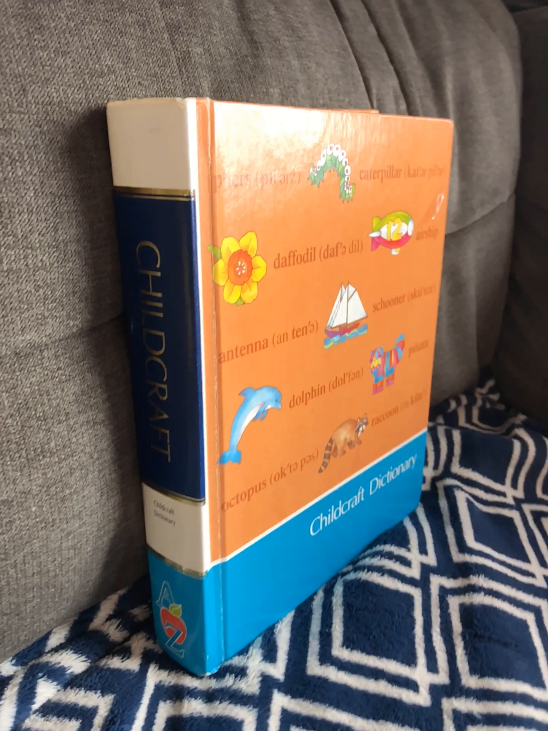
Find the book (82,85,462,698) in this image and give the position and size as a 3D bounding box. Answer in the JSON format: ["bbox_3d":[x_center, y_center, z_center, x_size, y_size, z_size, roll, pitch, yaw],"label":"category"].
[{"bbox_3d":[0.017,-0.001,0.333,0.055,0.260,0.210,16,25,39],"label":"book"}]
